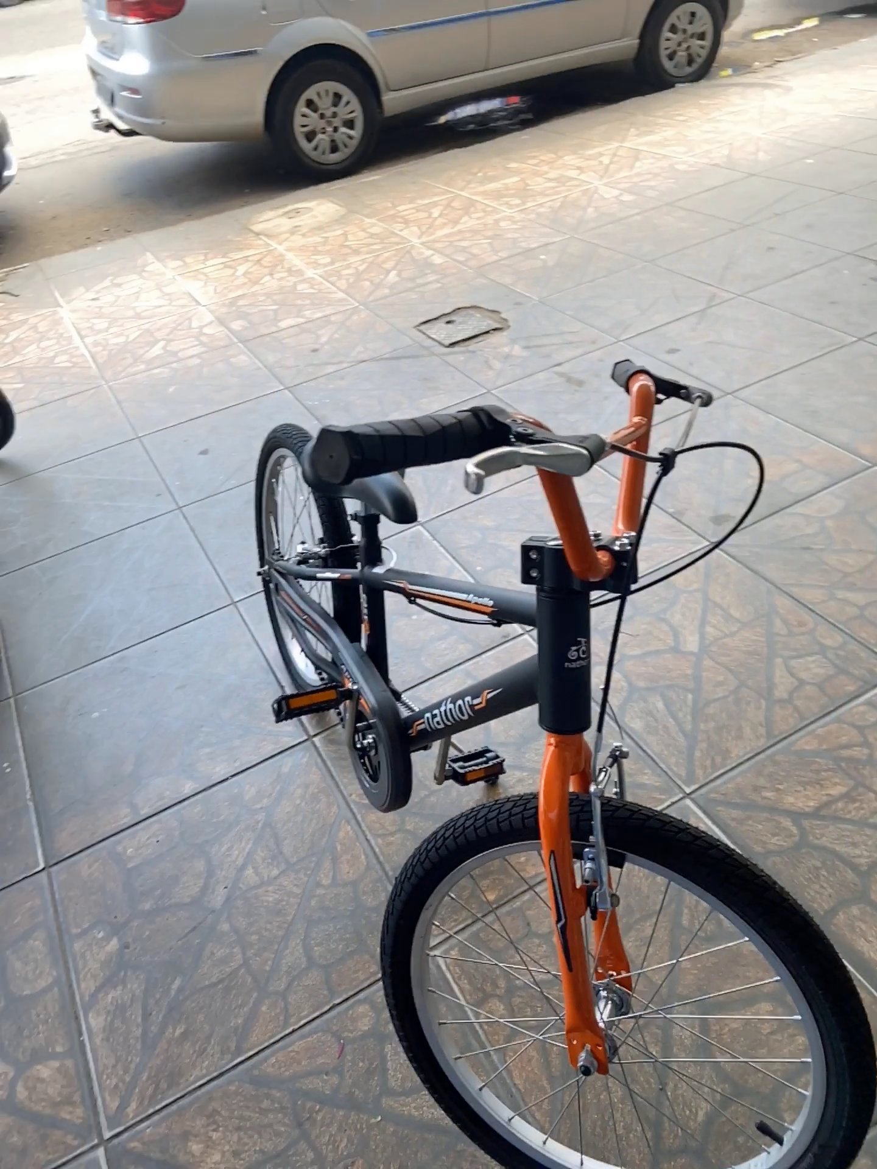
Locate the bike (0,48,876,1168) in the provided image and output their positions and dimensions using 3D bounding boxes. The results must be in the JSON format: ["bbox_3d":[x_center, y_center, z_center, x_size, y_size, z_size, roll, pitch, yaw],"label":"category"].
[{"bbox_3d":[0.042,-0.022,1.189,0.724,0.978,1.355,-29,44,-22],"label":"bike"}]
